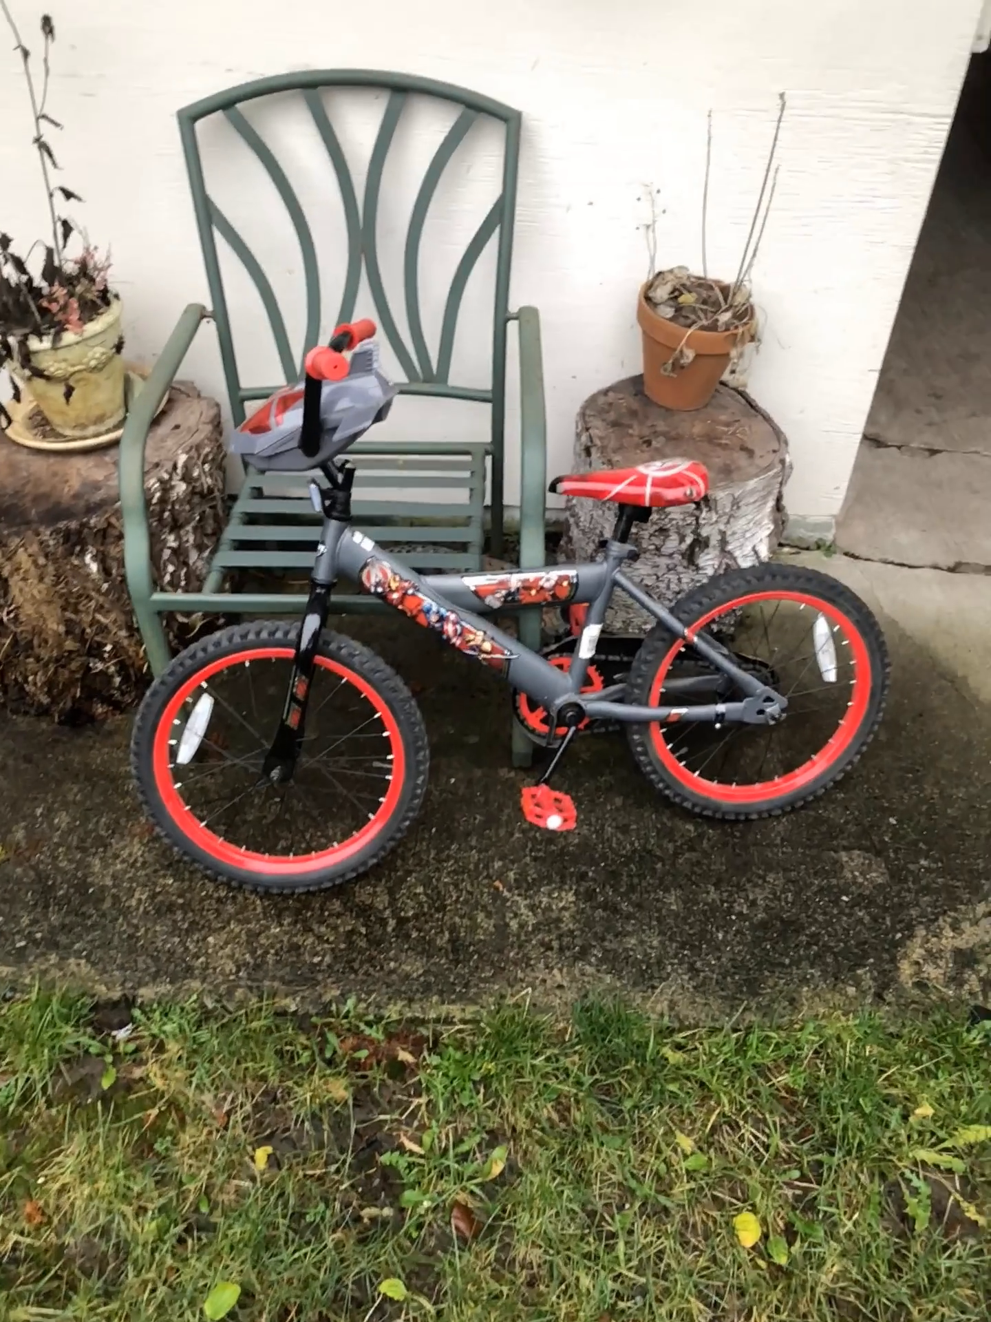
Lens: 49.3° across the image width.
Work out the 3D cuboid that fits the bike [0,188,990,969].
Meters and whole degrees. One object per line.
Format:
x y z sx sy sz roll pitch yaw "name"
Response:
0.022 -0.117 1.638 1.199 0.853 0.604 -6 44 -5 "bike"
